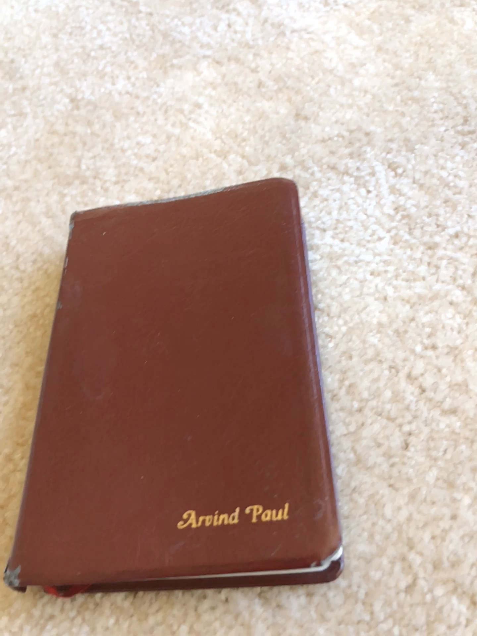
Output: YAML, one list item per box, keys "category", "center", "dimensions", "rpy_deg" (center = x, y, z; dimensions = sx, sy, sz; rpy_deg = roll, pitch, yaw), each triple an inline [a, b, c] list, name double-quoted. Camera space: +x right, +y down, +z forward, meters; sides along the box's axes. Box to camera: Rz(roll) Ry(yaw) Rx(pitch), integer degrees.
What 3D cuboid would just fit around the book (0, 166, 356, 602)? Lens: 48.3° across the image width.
- category: "book"
  center: [-0.022, 0.019, 0.210]
  dimensions: [0.110, 0.040, 0.157]
  rpy_deg: [-8, 57, 9]
